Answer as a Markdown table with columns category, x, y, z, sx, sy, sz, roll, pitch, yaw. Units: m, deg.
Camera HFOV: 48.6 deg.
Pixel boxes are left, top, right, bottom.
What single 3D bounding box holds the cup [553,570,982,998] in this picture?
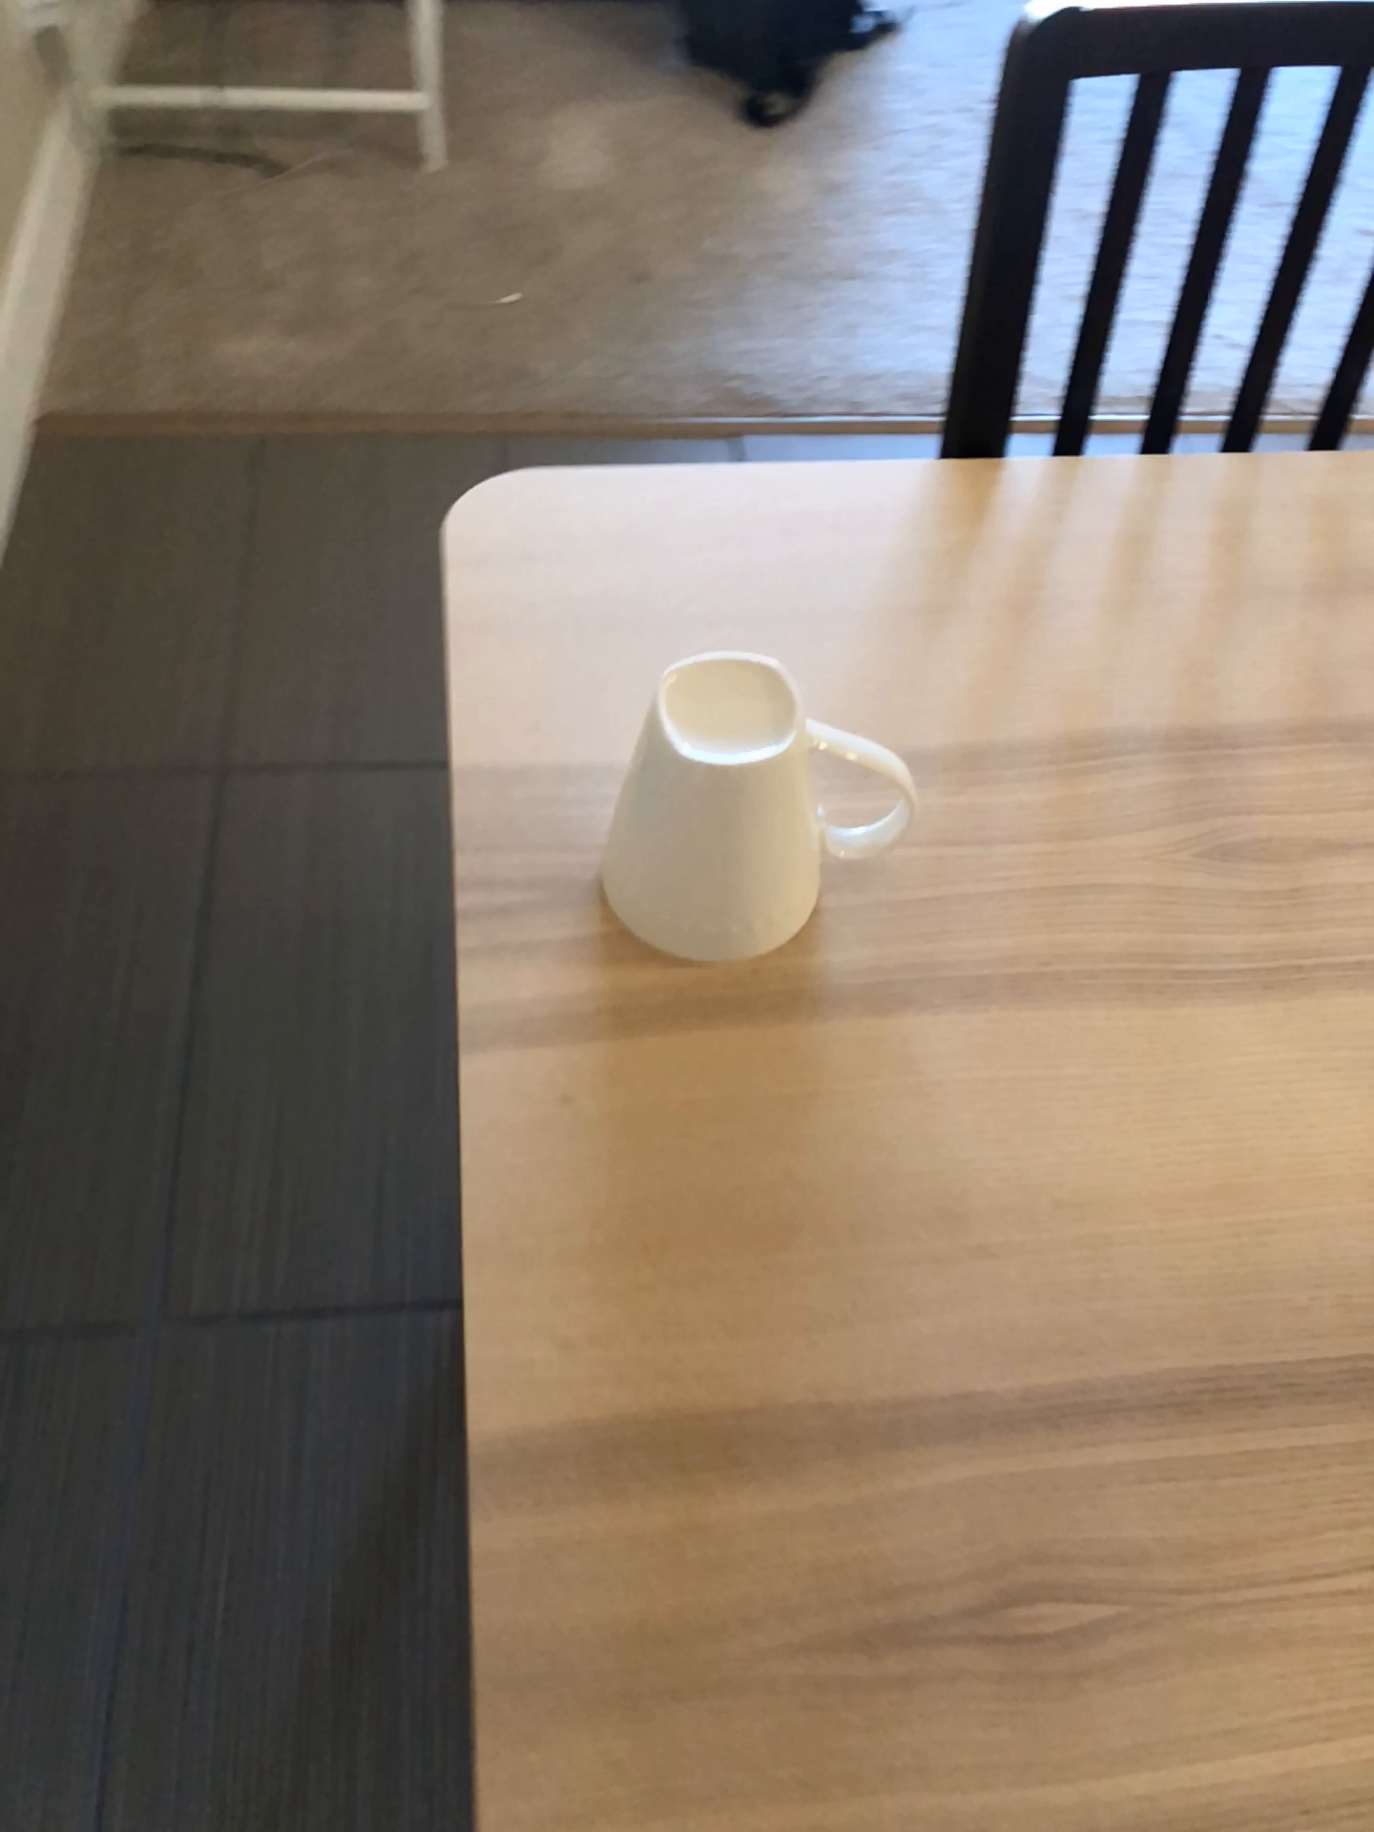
| category | x | y | z | sx | sy | sz | roll | pitch | yaw |
| --- | --- | --- | --- | --- | --- | --- | --- | --- | --- |
| cup | 0.025 | -0.052 | 0.614 | 0.140 | 0.120 | 0.100 | -9 | 54 | -10 |
